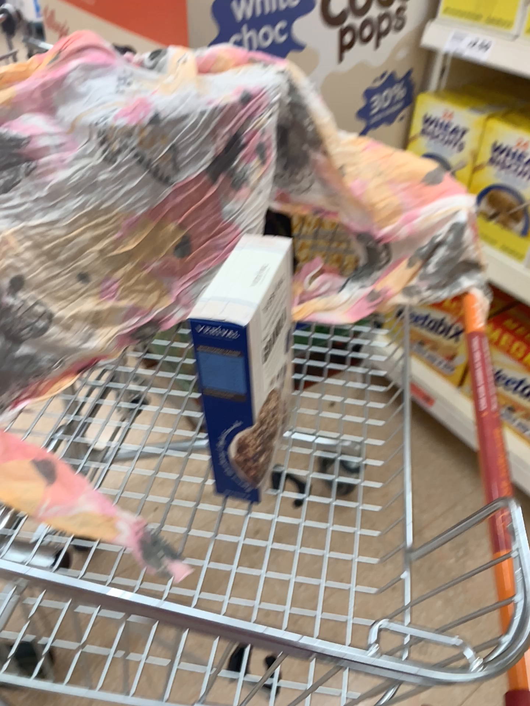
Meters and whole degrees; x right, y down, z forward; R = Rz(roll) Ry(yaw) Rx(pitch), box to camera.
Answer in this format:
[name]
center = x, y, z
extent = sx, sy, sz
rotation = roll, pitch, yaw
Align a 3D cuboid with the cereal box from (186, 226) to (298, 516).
[cereal box]
center = -0.011, 0.020, 0.510
extent = 0.050, 0.228, 0.141
rotation = 9, 40, 13
